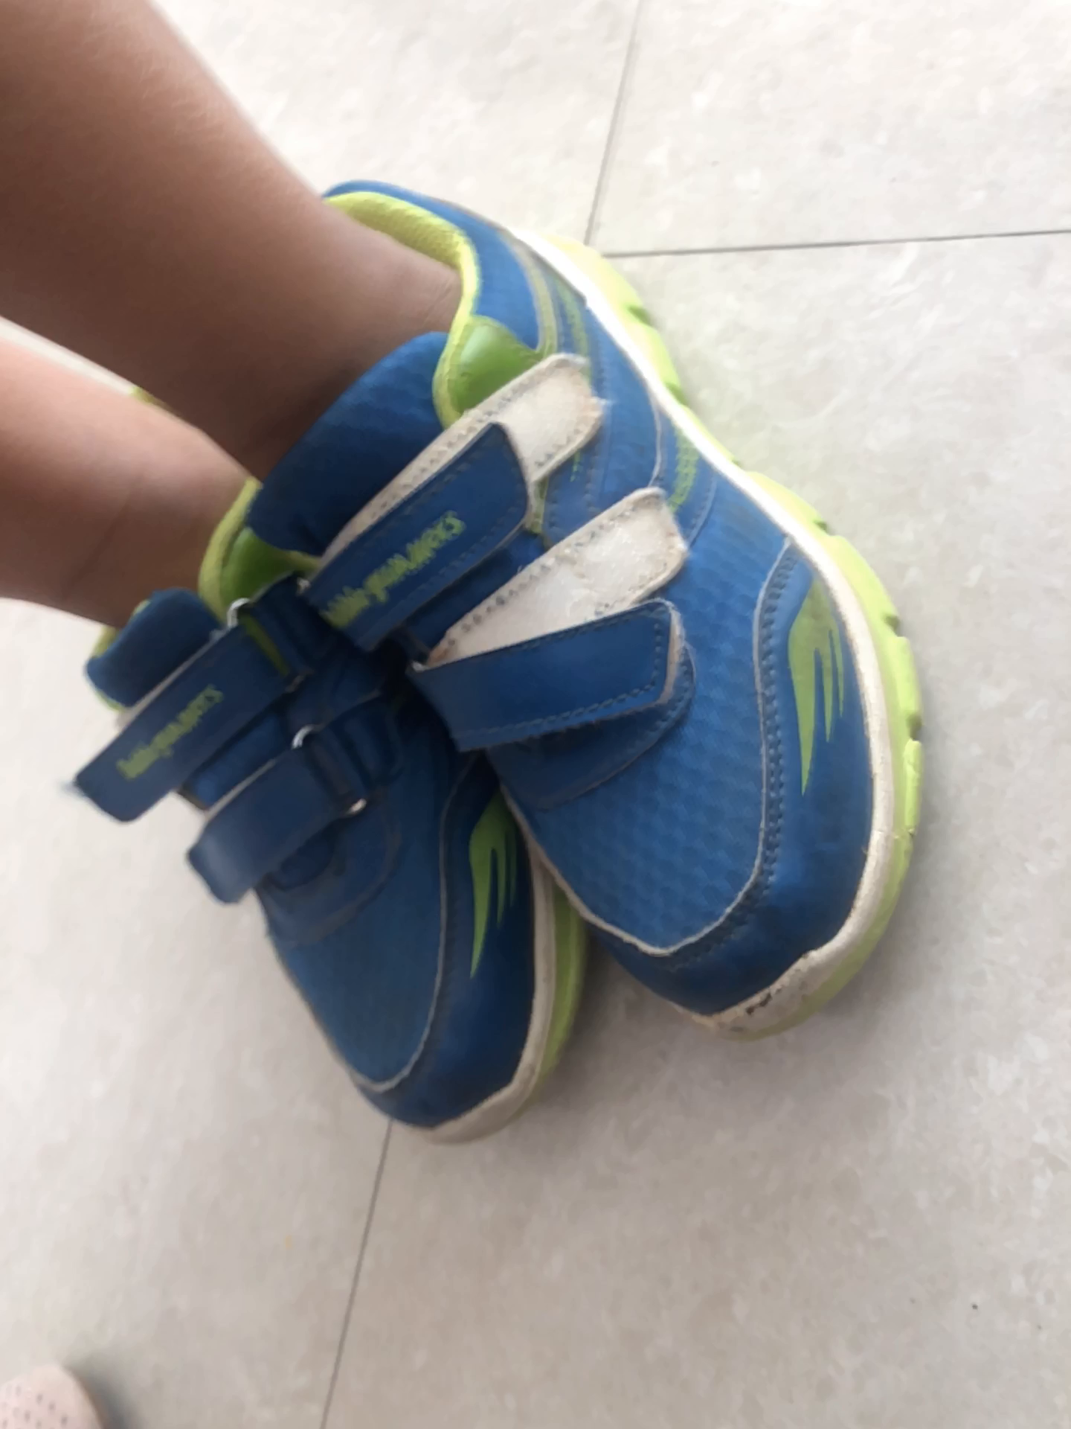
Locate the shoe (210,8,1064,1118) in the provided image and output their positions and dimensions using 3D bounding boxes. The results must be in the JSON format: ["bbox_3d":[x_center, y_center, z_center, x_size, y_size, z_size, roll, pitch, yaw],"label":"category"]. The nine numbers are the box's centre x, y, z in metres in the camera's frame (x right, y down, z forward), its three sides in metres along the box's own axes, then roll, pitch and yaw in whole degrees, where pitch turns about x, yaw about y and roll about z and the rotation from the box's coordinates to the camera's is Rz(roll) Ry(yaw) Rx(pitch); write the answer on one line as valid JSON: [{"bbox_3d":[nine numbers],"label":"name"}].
[{"bbox_3d":[0.007,-0.039,0.266,0.090,0.060,0.221,-38,61,27],"label":"shoe"}]

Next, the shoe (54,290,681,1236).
[{"bbox_3d":[-0.056,0.006,0.320,0.090,0.060,0.221,-37,62,27],"label":"shoe"}]
